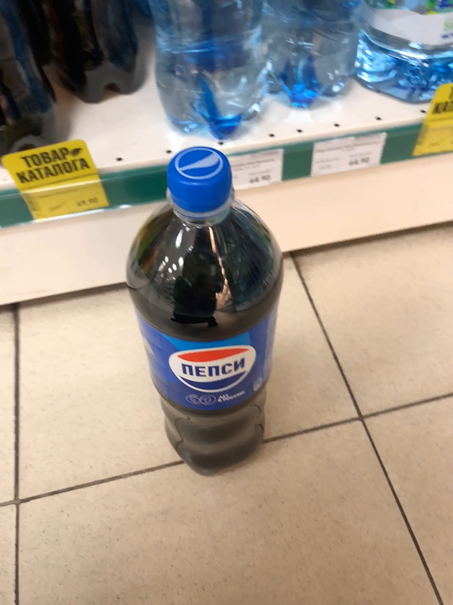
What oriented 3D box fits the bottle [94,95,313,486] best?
[{"bbox_3d":[-0.013,0.029,0.354,0.089,0.315,0.085,-1,53,1],"label":"bottle"}]
